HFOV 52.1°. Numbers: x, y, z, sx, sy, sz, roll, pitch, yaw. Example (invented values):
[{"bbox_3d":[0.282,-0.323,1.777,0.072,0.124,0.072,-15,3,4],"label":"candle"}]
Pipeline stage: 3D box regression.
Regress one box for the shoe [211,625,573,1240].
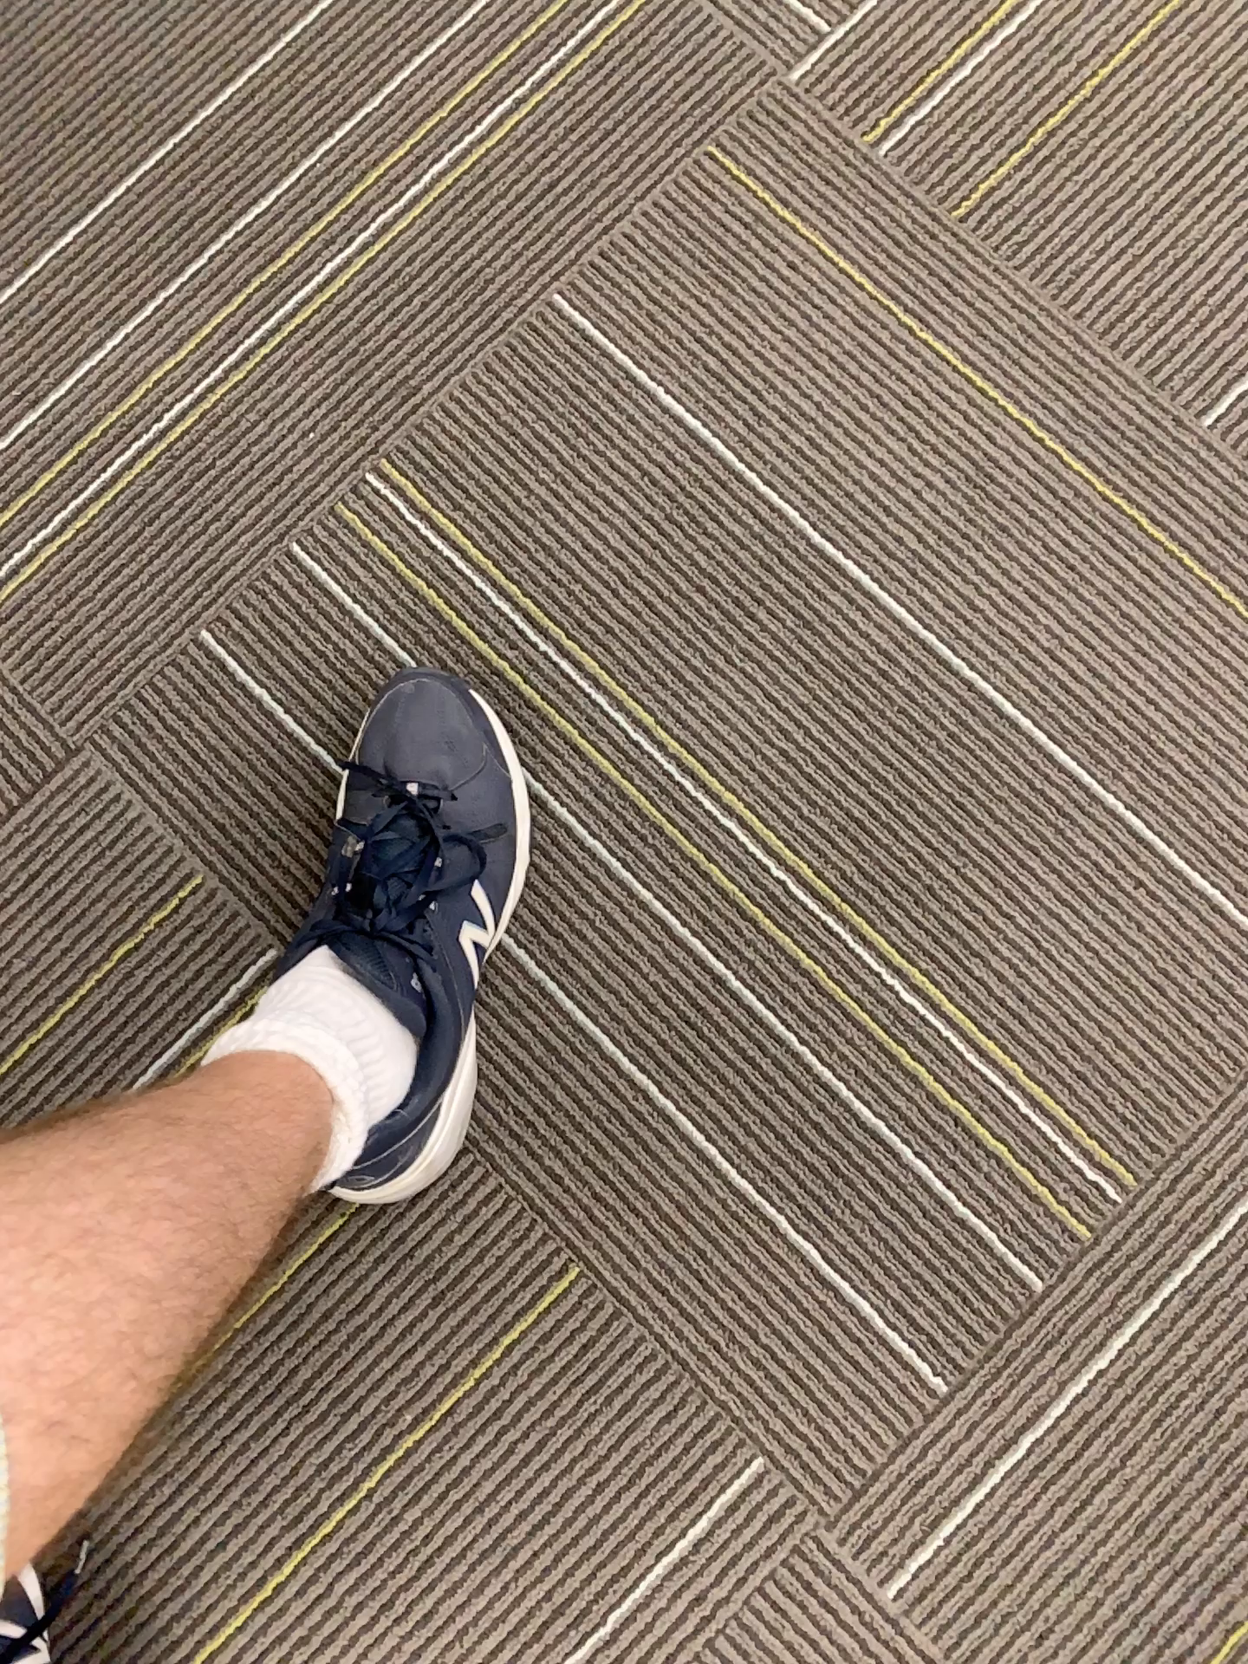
[{"bbox_3d":[-0.122,0.052,0.712,0.130,0.070,0.310,9,82,5],"label":"shoe"}]
